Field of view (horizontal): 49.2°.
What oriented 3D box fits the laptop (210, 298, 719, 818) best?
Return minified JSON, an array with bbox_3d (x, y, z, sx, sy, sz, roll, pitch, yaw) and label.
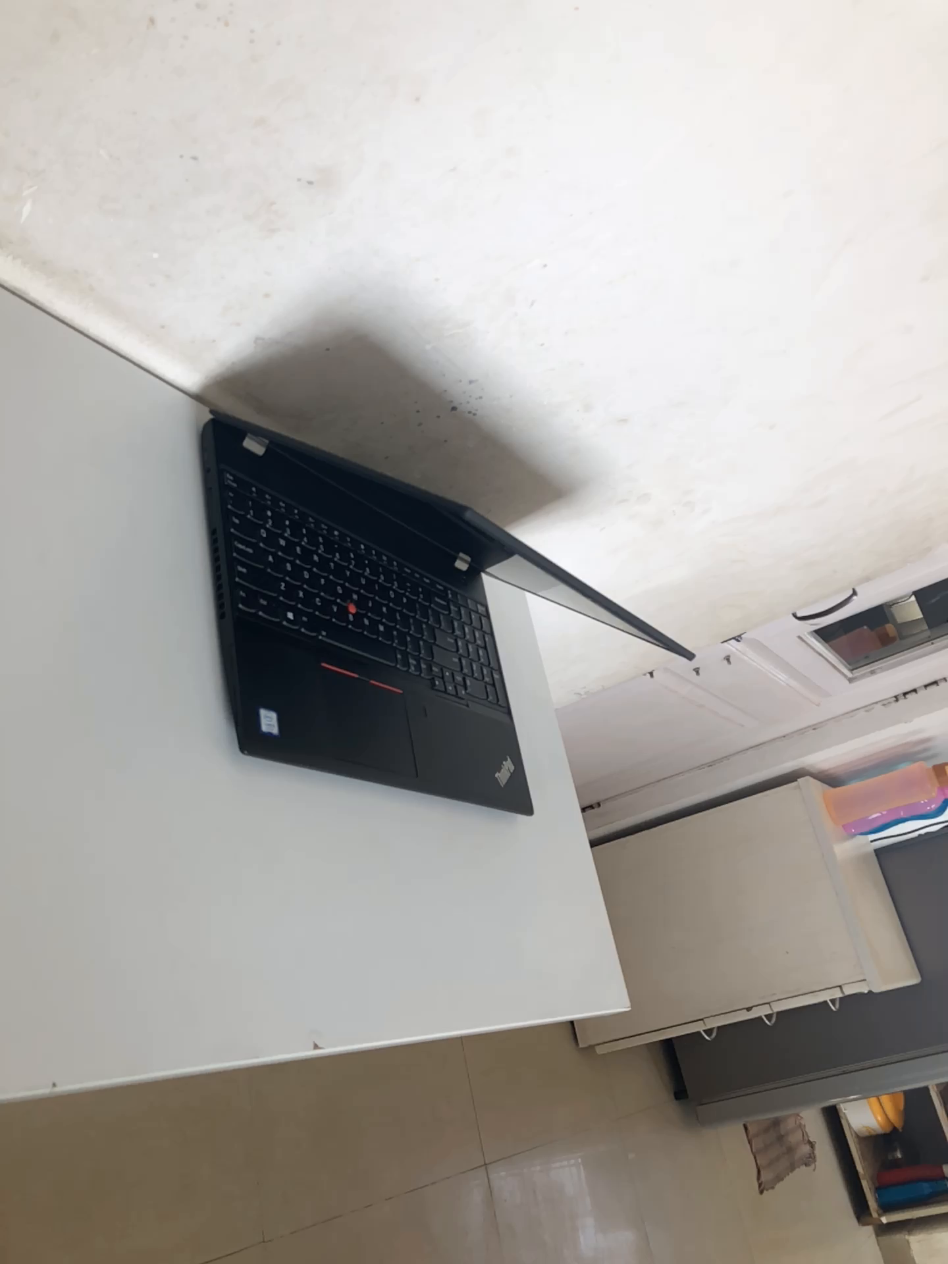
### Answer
[{"bbox_3d":[0.007,-0.023,0.770,0.348,0.173,0.234,26,46,-53],"label":"laptop"}]
